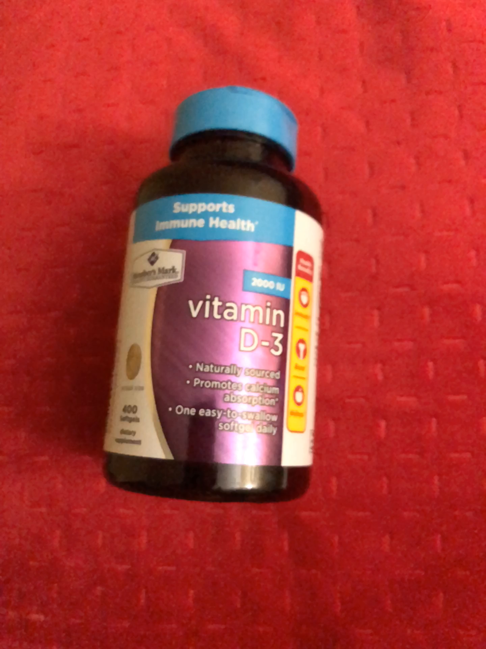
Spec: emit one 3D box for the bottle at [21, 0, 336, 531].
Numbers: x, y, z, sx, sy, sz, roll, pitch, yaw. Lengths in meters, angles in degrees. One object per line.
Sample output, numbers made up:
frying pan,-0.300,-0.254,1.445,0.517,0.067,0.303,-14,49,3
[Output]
bottle,-0.012,-0.019,0.172,0.070,0.060,0.140,0,81,16
